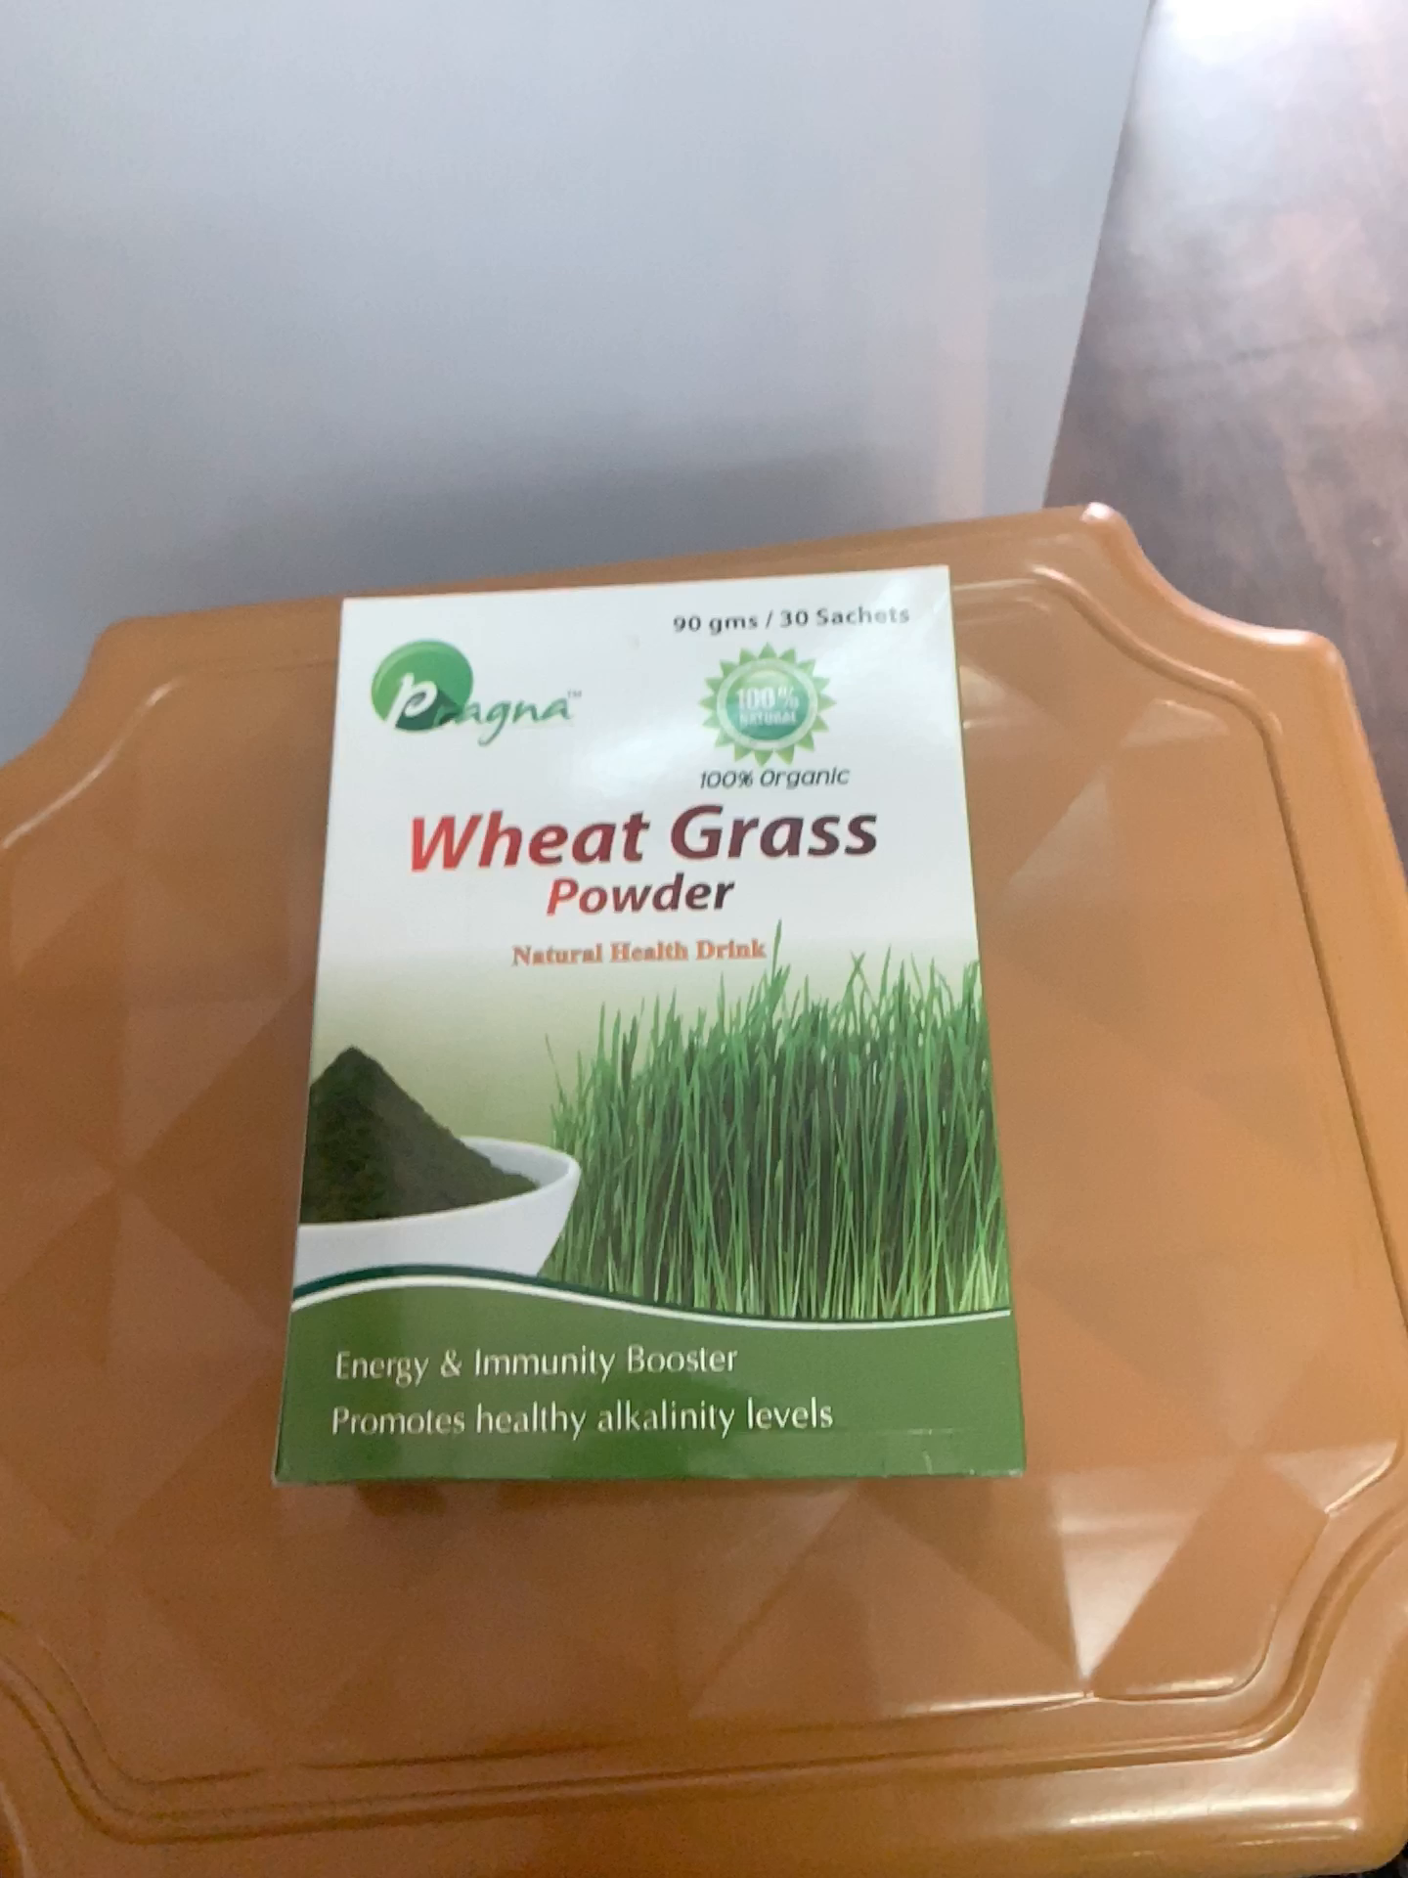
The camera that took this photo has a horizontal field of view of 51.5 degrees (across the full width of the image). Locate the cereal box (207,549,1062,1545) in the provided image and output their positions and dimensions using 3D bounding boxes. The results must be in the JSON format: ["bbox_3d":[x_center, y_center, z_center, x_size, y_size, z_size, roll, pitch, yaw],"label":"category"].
[{"bbox_3d":[-0.011,0.019,0.272,0.130,0.050,0.170,-2,71,4],"label":"cereal box"}]
